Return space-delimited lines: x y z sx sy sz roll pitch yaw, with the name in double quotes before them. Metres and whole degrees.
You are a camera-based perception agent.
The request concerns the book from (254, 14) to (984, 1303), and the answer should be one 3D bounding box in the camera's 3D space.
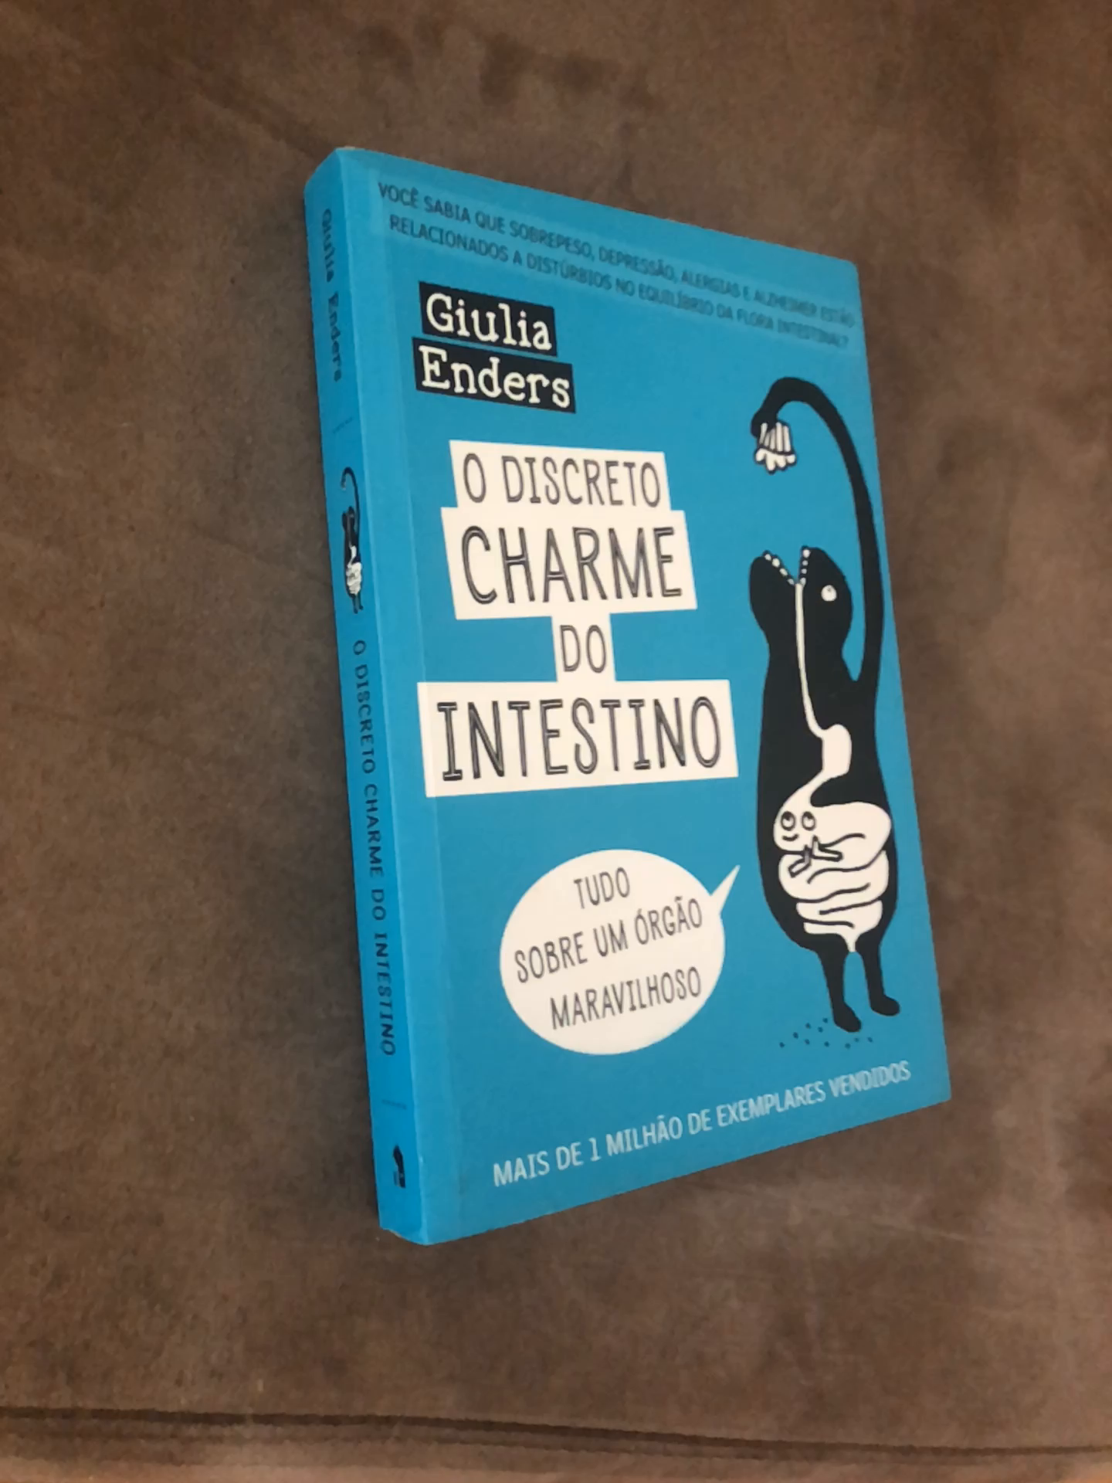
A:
"book" 0.018 -0.020 0.259 0.141 0.030 0.220 -2 84 -33
